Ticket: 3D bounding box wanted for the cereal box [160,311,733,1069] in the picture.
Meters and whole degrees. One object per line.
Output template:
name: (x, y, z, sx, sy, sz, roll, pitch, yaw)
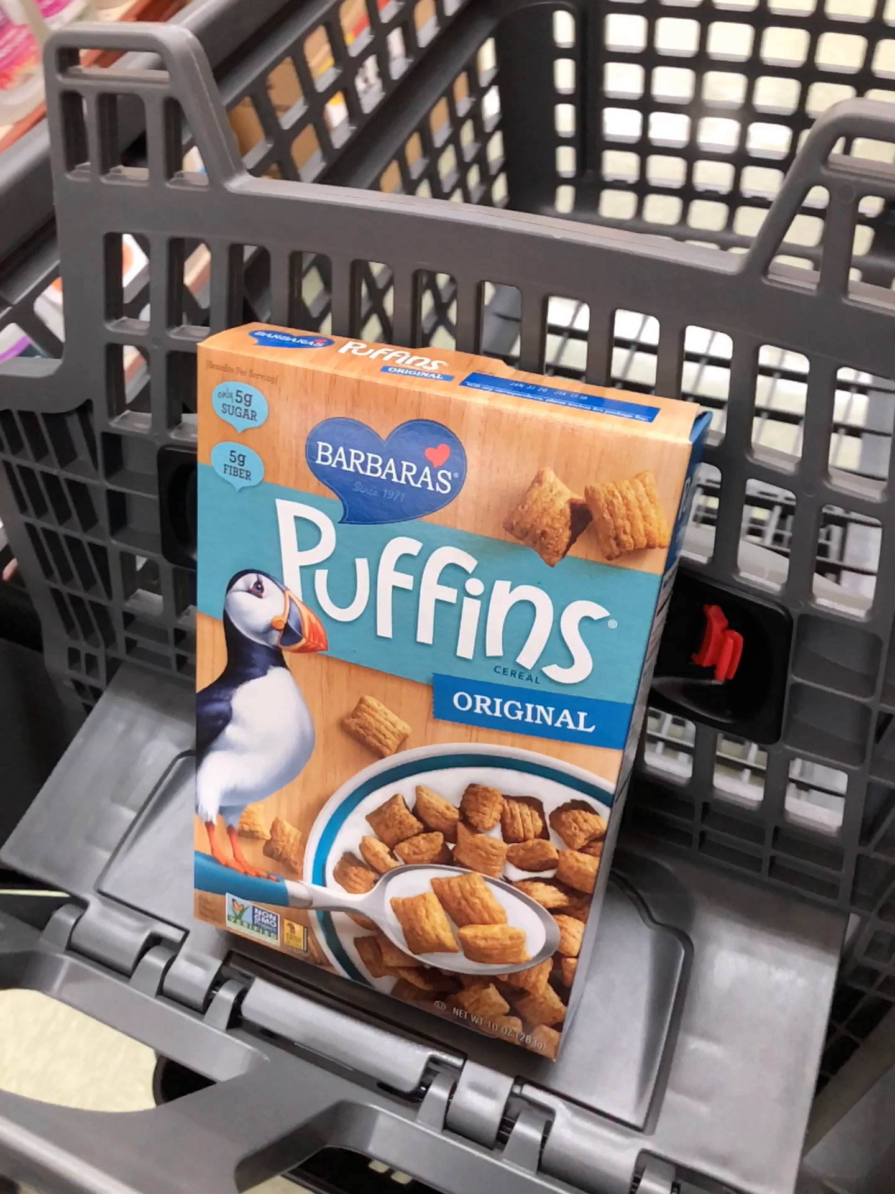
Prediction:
cereal box: (-0.016, 0.039, 0.390, 0.190, 0.260, 0.050, 15, 26, 17)
